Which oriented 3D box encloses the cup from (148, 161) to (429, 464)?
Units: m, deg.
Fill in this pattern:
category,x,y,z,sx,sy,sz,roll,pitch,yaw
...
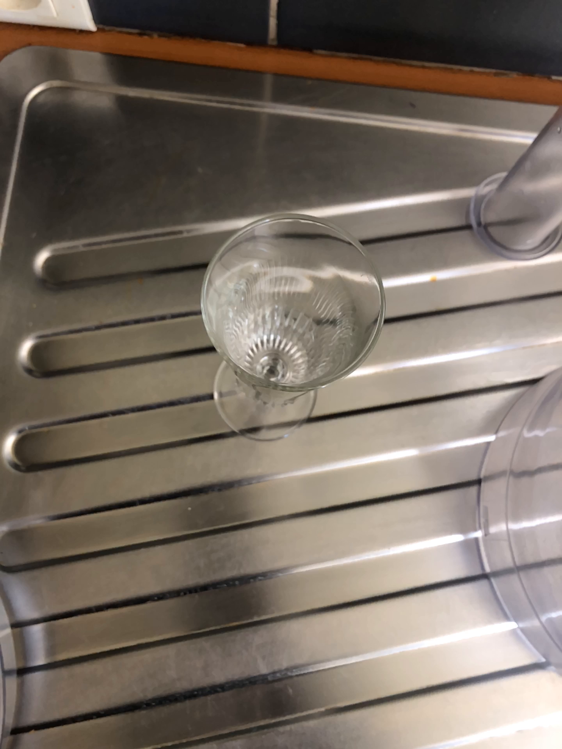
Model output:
category,x,y,z,sx,sy,sz,roll,pitch,yaw
cup,-0.001,-0.009,0.271,0.060,0.170,0.060,1,79,-3
